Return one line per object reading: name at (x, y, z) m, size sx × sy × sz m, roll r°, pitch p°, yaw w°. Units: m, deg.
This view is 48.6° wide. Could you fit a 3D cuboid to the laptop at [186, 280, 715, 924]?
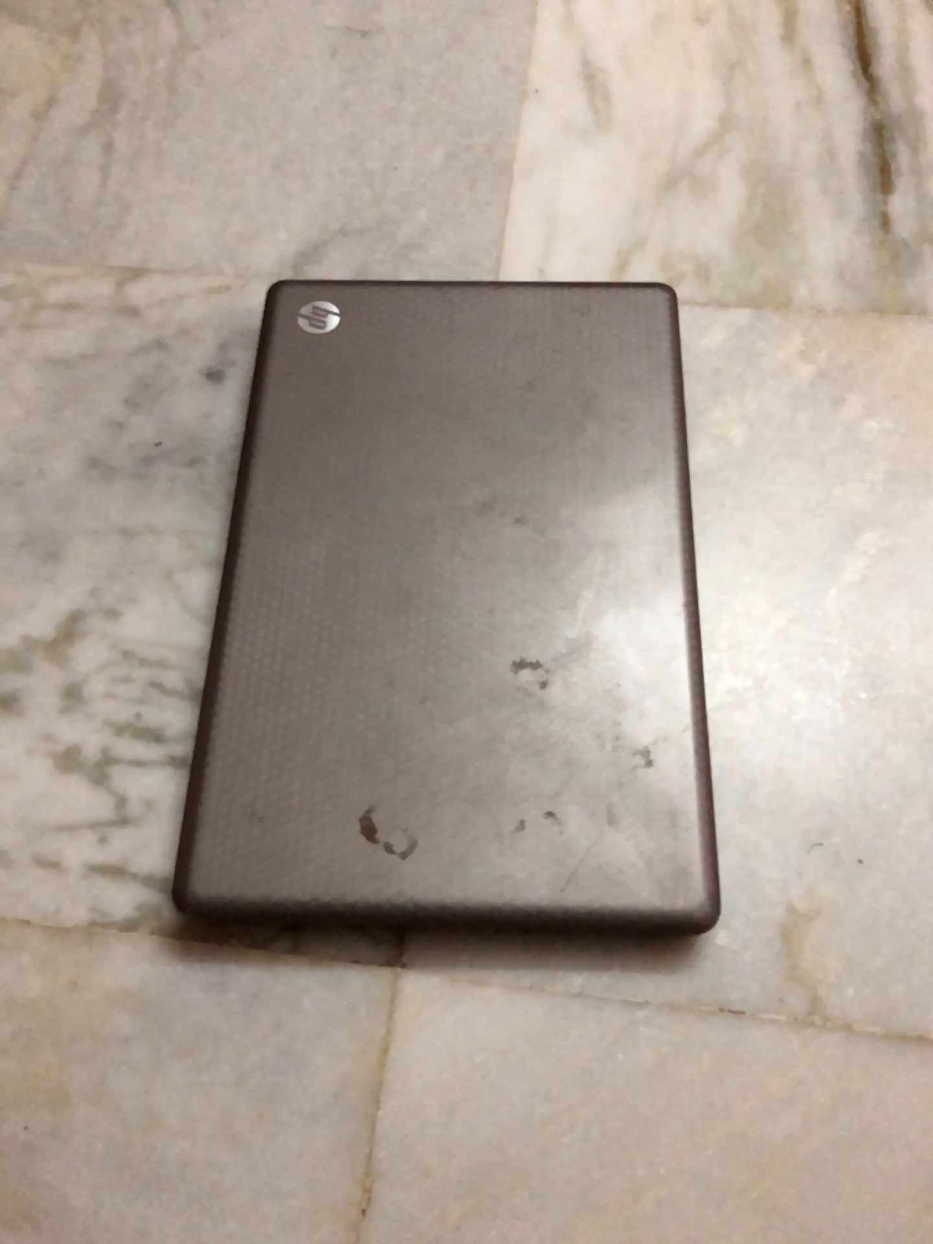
laptop at (-0.002, -0.039, 0.577) m, size 0.252 × 0.003 × 0.395 m, roll 1°, pitch 64°, yaw 2°
